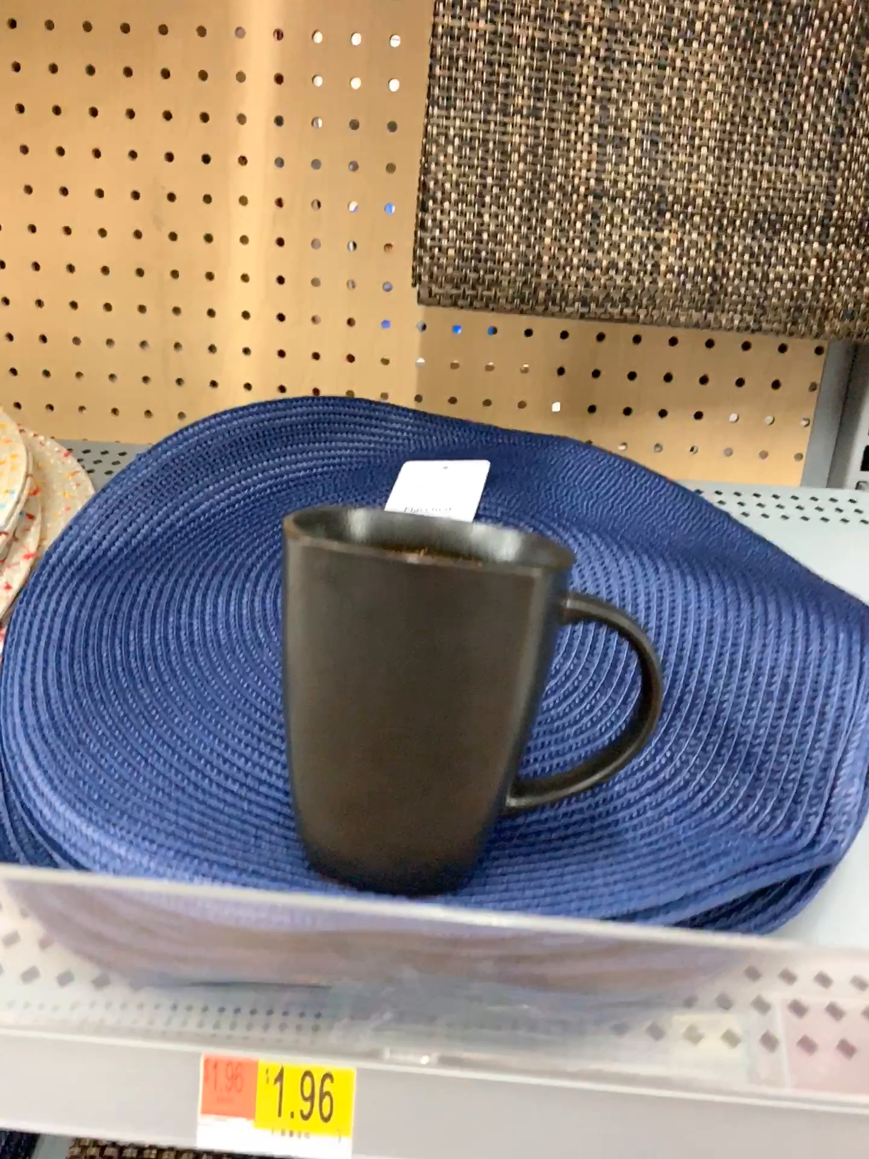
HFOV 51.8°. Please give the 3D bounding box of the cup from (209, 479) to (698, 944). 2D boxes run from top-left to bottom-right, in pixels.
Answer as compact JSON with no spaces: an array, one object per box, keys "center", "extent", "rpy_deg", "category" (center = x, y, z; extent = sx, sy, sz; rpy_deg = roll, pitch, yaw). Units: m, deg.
[{"center":[0.006,0.033,0.294],"extent":[0.130,0.110,0.090],"rpy_deg":[6,15,7],"category":"cup"}]
